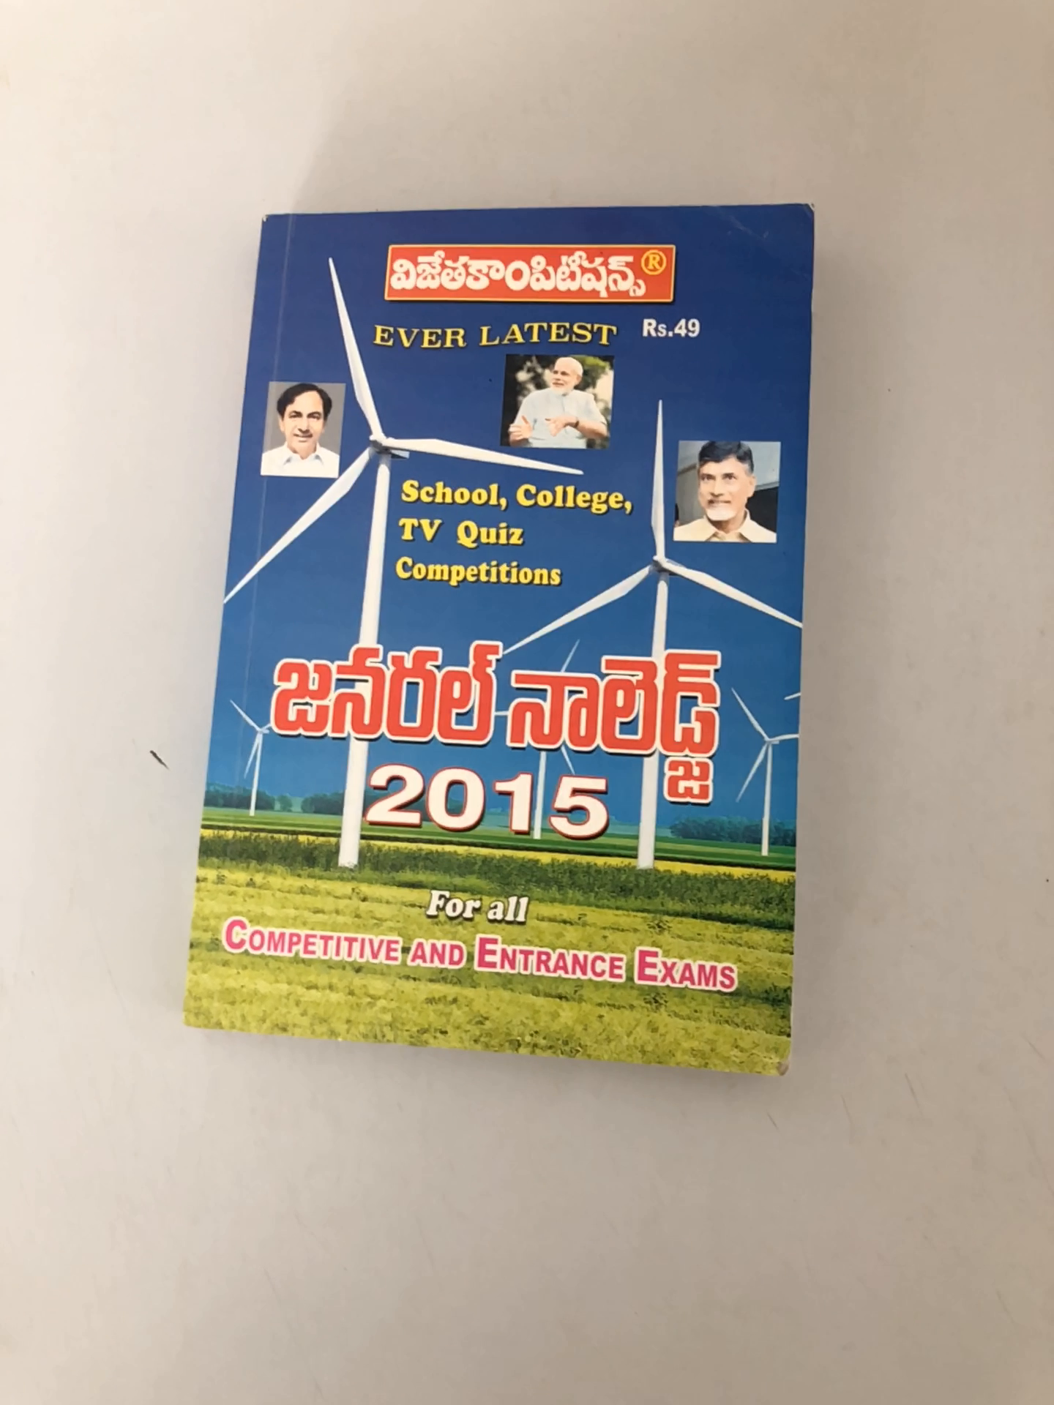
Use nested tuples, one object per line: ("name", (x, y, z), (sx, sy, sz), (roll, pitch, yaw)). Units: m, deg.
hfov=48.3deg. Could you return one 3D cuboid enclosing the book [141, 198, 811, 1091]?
("book", (-0.008, -0.018, 0.255), (0.129, 0.022, 0.182), (3, 83, 7))
